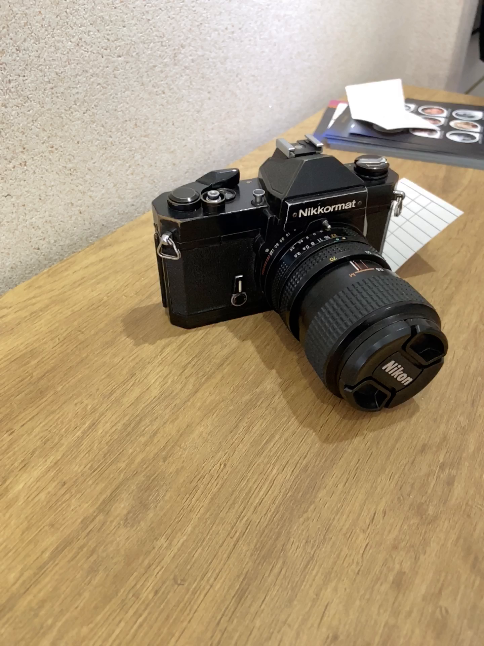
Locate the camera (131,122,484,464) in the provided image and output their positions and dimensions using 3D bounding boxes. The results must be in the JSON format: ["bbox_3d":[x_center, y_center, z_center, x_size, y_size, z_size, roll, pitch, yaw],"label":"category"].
[{"bbox_3d":[0.037,-0.030,0.266,0.160,0.089,0.141,-12,40,-13],"label":"camera"}]
